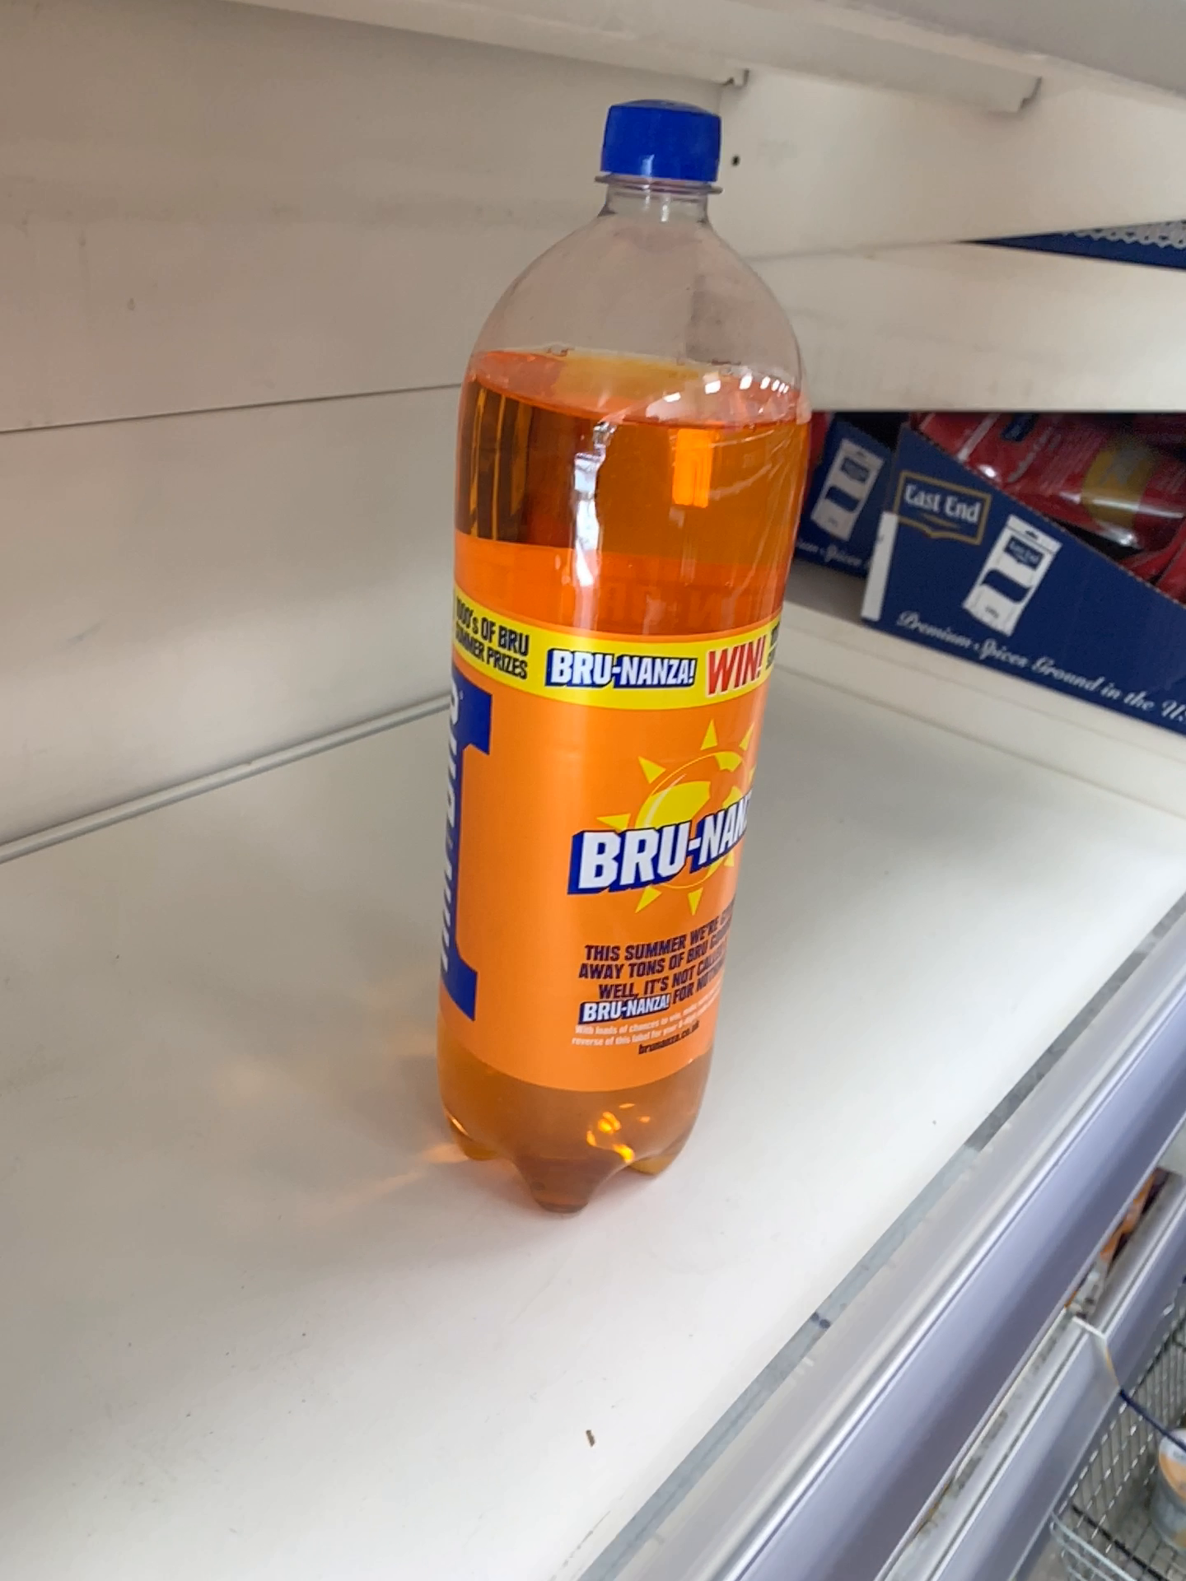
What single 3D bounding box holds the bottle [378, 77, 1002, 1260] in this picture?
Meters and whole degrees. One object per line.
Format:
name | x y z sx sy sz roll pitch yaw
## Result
bottle | 0.009 -0.029 0.385 0.110 0.327 0.111 5 28 -3
